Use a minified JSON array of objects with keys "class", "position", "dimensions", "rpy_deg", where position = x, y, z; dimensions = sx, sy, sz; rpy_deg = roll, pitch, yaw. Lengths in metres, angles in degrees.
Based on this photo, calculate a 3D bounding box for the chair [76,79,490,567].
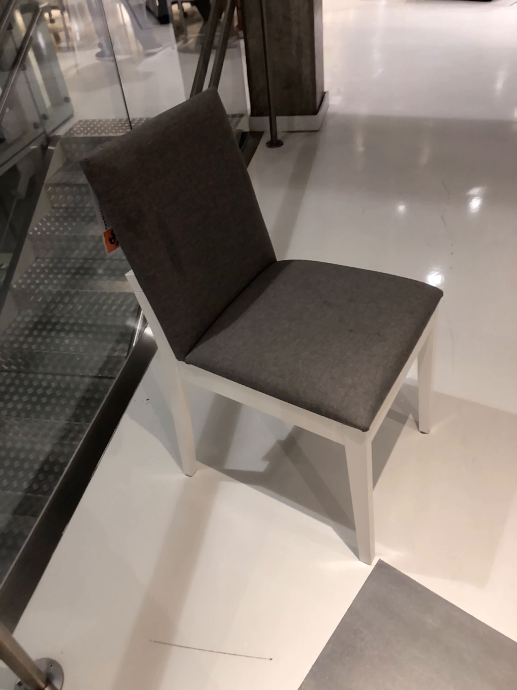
[{"class":"chair","position":[0.093,-0.054,1.254],"dimensions":[0.561,0.844,0.483],"rpy_deg":[17,45,27]}]
